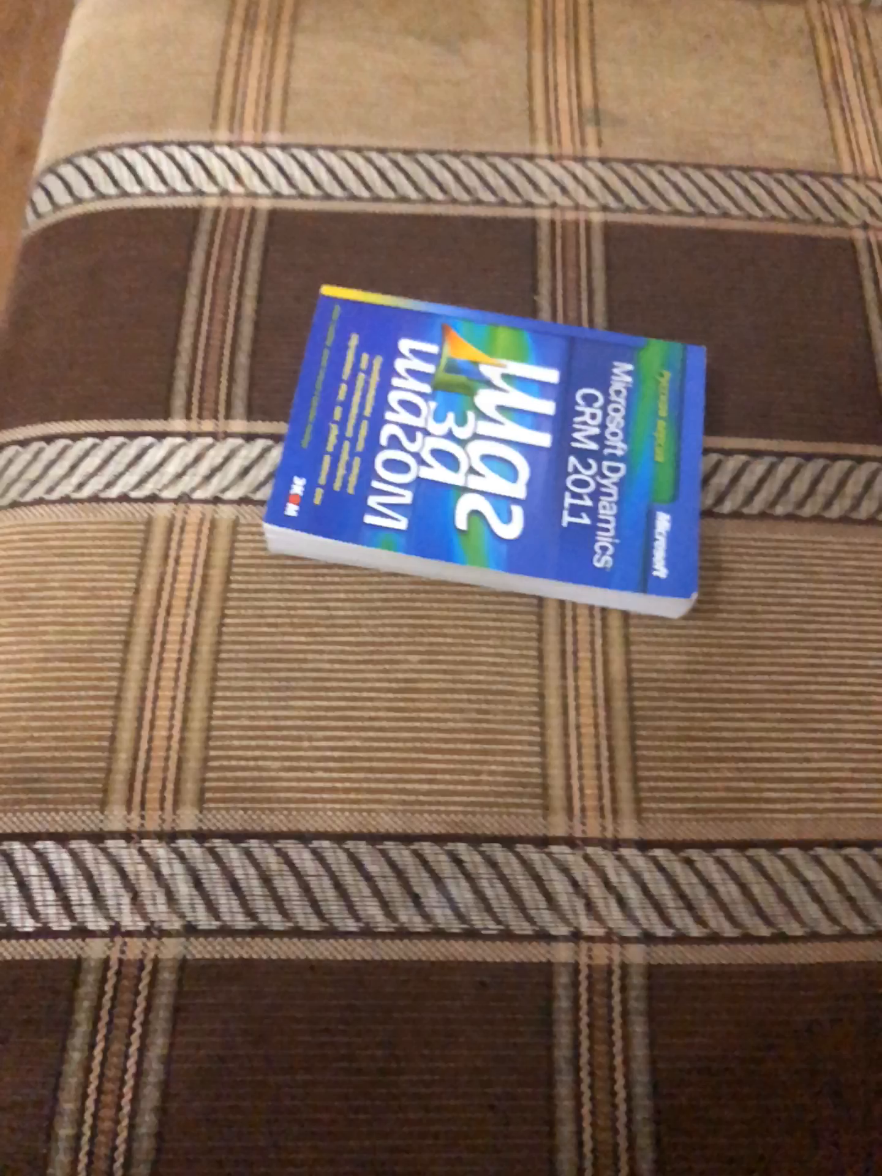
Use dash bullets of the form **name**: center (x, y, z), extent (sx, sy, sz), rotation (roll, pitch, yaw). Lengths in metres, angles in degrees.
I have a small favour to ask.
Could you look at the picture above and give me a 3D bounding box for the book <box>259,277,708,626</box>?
- **book**: center (0.027, -0.071, 0.483), extent (0.200, 0.030, 0.151), rotation (9, 66, 1)
